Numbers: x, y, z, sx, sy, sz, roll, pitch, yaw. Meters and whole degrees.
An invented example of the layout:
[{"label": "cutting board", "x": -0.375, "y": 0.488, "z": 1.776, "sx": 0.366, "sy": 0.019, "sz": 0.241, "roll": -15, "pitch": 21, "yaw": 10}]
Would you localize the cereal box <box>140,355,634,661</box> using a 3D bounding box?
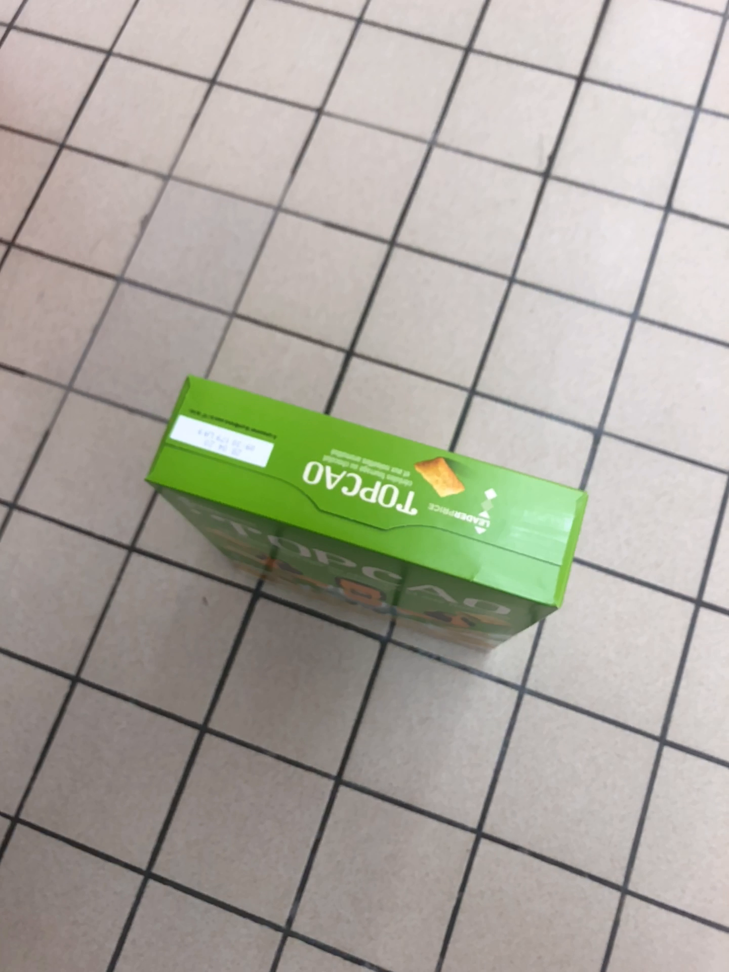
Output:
[{"label": "cereal box", "x": 0.010, "y": 0.032, "z": 0.462, "sx": 0.200, "sy": 0.250, "sz": 0.060, "roll": 16, "pitch": 75, "yaw": 5}]
